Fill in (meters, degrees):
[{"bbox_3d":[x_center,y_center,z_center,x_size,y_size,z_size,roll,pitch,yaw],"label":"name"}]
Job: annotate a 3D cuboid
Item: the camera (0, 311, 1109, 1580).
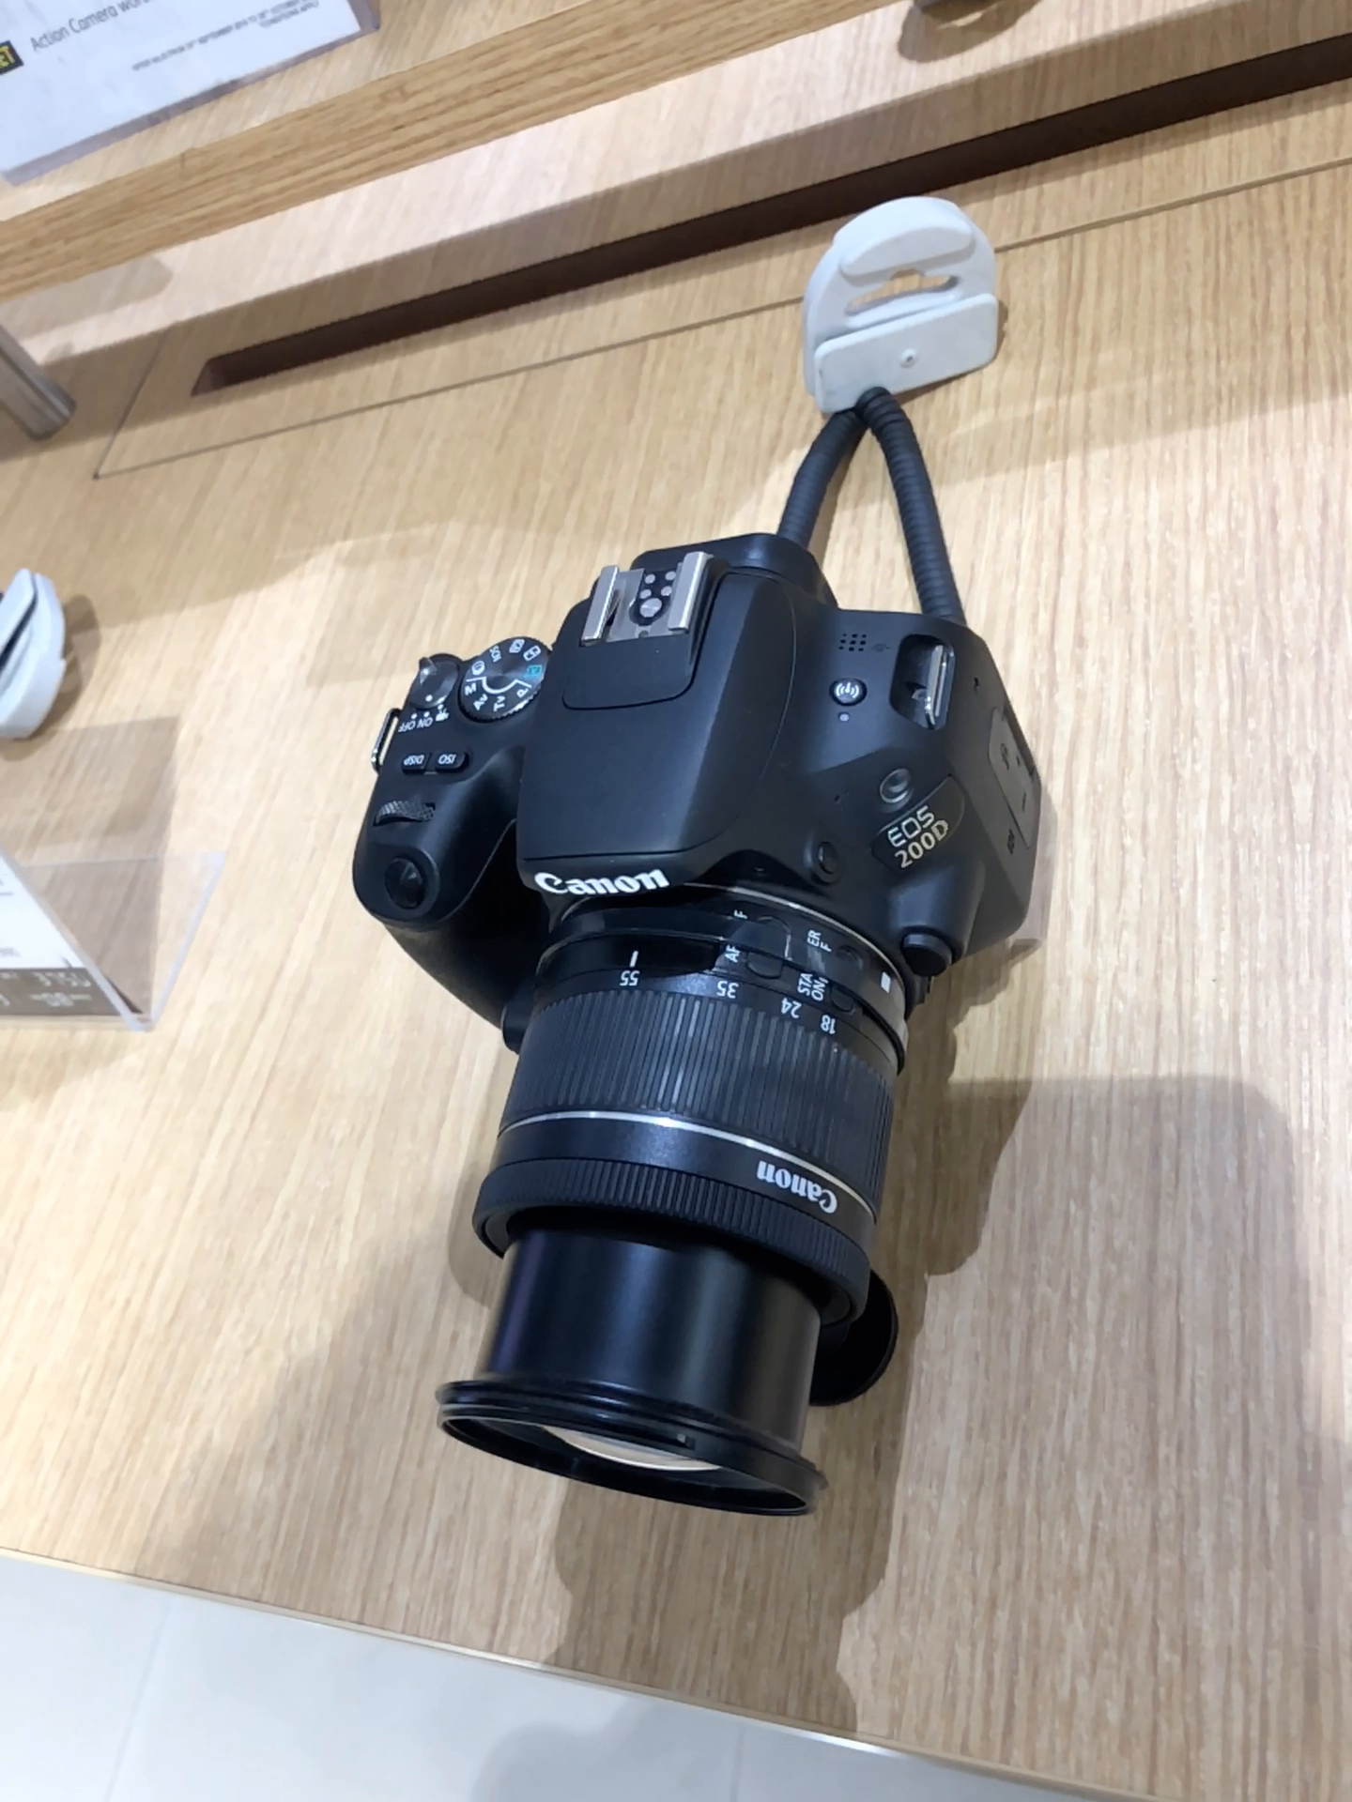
[{"bbox_3d":[-0.003,0.009,0.250,0.120,0.099,0.161,-3,58,27],"label":"camera"}]
